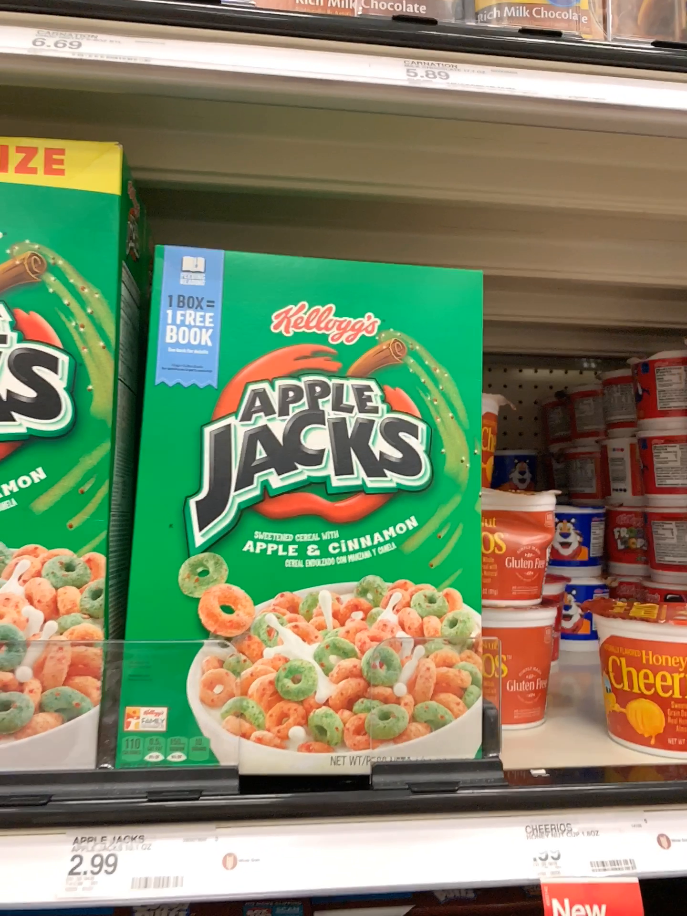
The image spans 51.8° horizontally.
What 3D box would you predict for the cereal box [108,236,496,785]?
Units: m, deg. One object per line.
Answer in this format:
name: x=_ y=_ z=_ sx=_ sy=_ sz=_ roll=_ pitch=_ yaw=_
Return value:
cereal box: x=-0.019 y=0.027 z=0.417 sx=0.200 sy=0.291 sz=0.060 roll=2 pitch=-9 yaw=-8
